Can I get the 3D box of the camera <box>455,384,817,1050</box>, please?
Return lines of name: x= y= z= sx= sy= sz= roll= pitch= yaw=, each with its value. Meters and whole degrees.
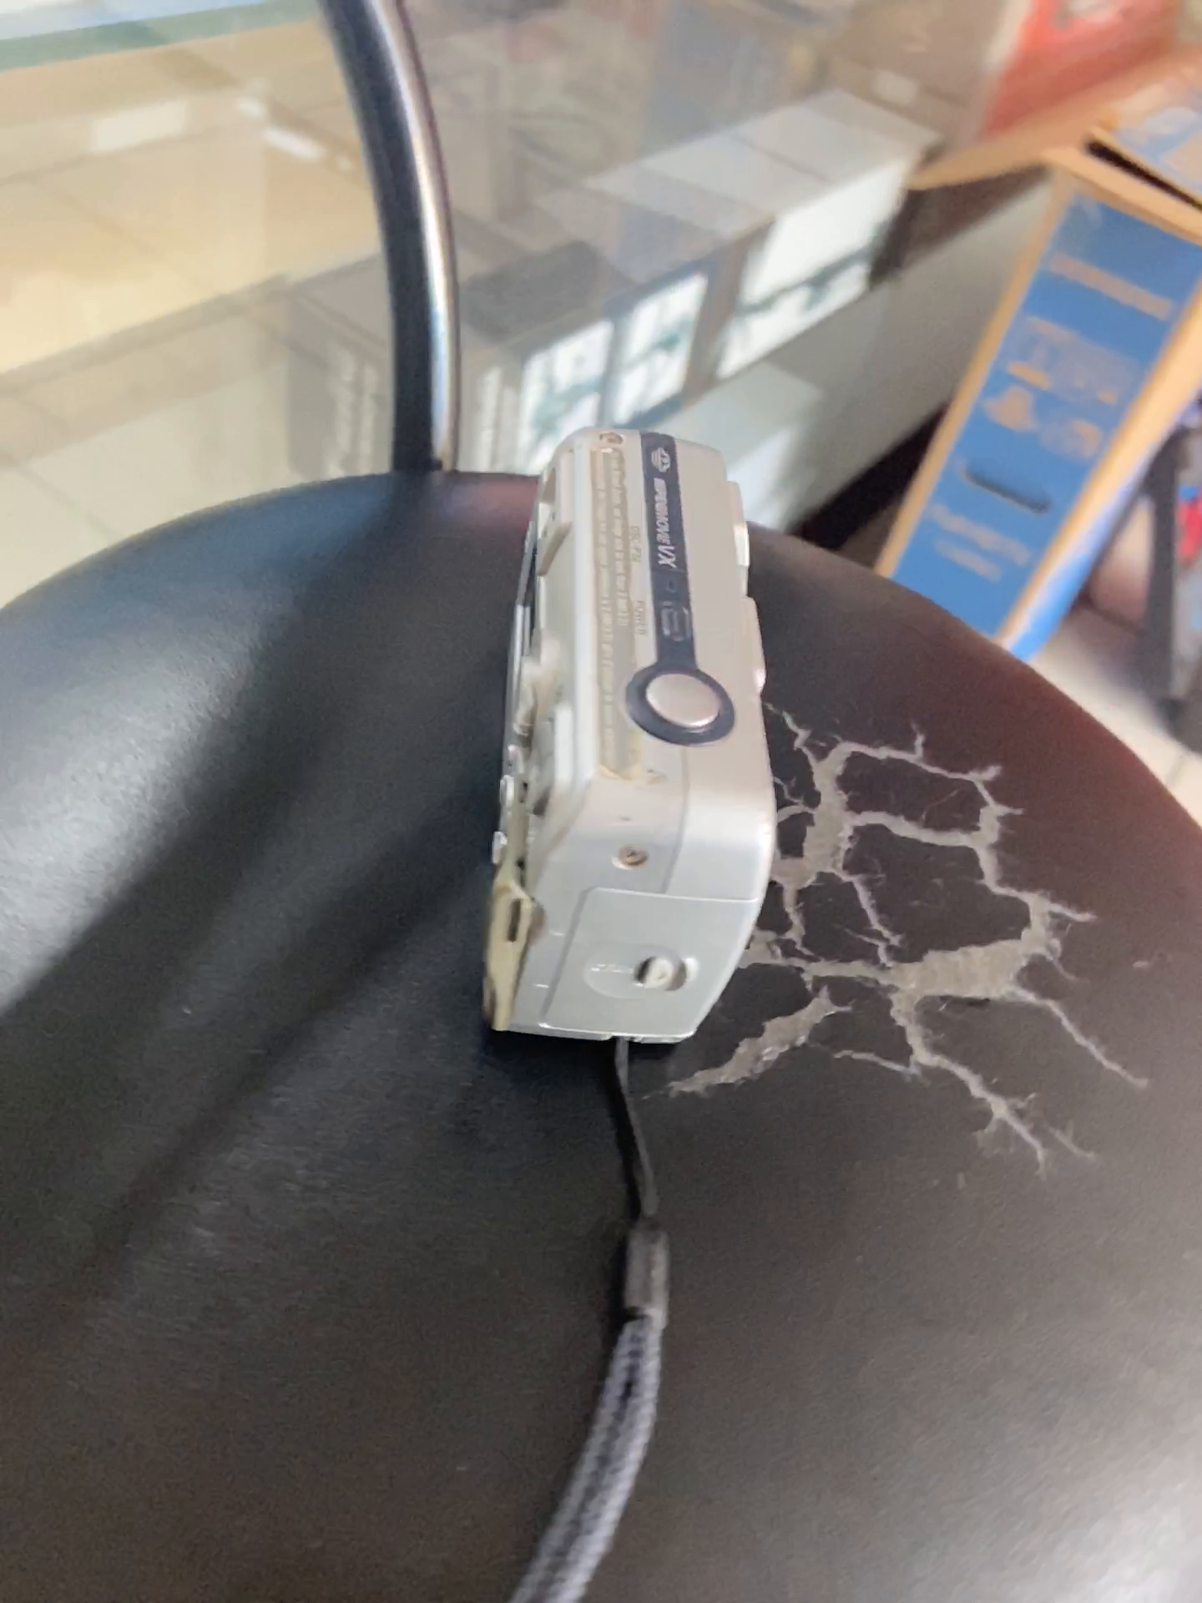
camera: x=0.002 y=-0.017 z=0.208 sx=0.040 sy=0.050 sz=0.101 roll=8 pitch=47 yaw=-9
